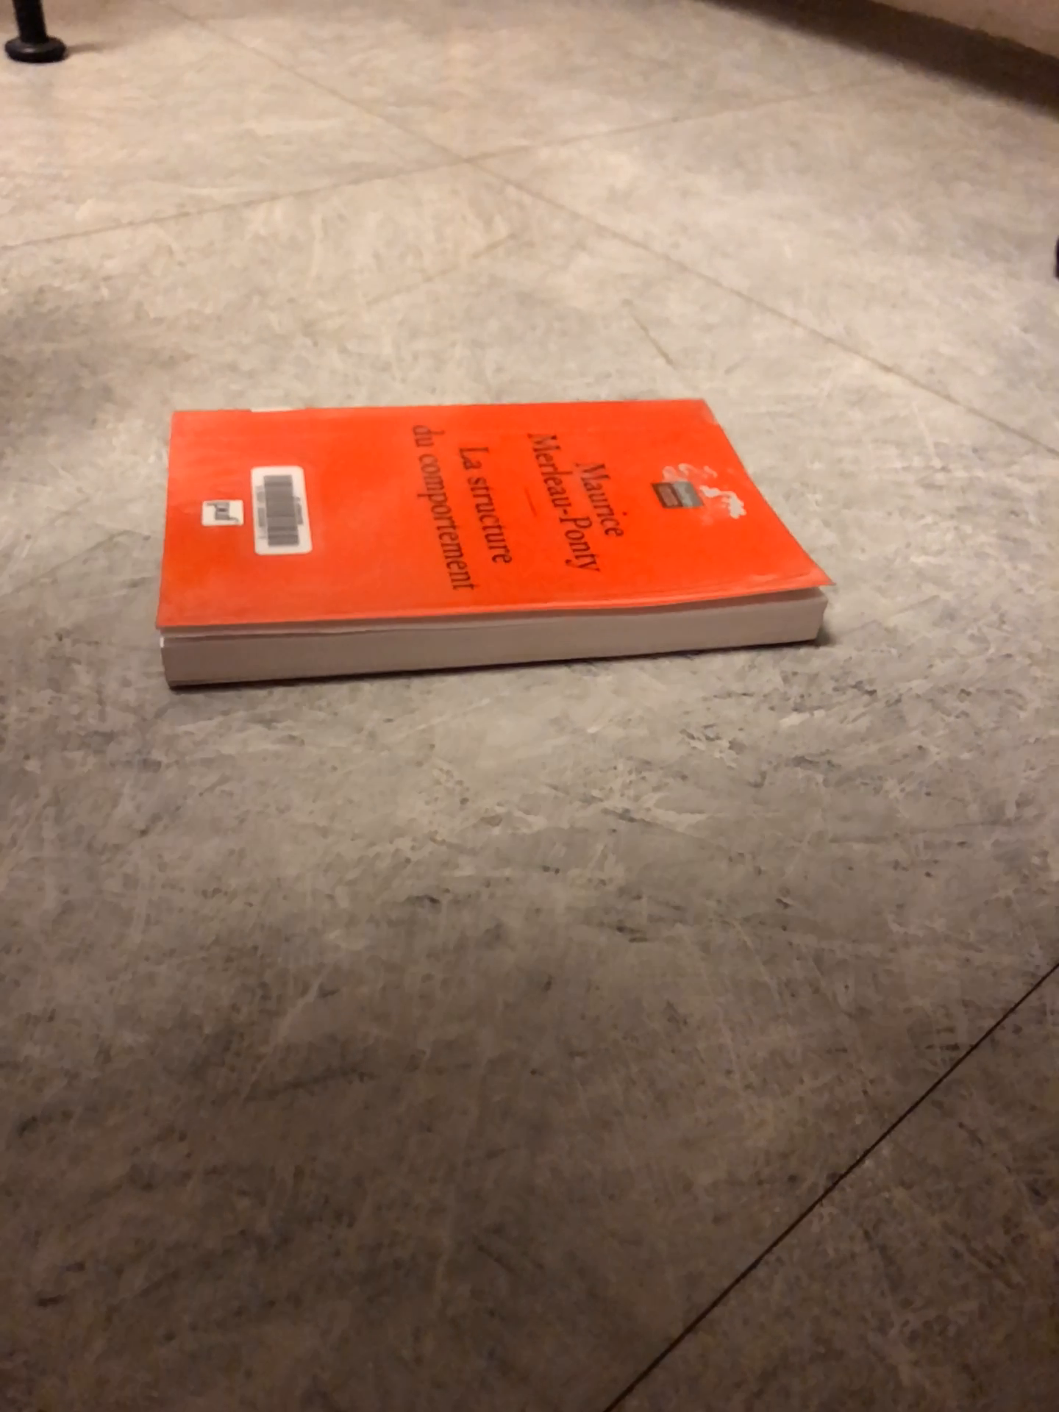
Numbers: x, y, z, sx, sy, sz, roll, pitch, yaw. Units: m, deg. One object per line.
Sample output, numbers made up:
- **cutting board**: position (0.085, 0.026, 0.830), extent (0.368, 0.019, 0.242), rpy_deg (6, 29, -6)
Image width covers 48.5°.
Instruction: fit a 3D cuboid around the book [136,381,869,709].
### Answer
- **book**: position (-0.014, -0.059, 0.371), extent (0.200, 0.020, 0.136), rpy_deg (-4, 43, -11)
